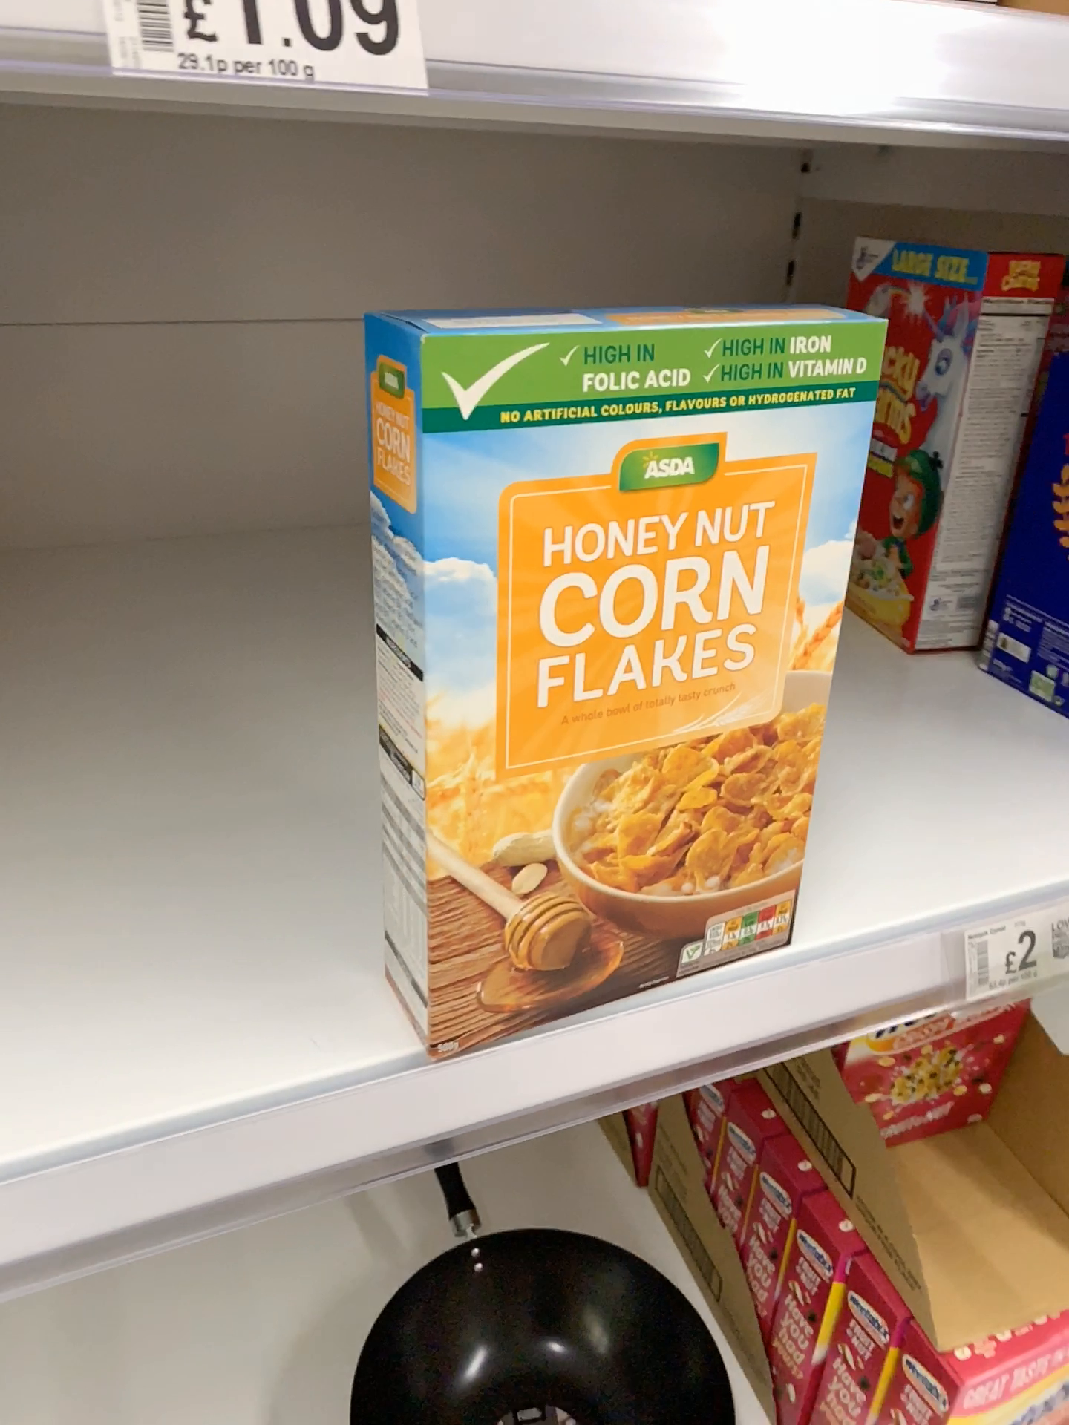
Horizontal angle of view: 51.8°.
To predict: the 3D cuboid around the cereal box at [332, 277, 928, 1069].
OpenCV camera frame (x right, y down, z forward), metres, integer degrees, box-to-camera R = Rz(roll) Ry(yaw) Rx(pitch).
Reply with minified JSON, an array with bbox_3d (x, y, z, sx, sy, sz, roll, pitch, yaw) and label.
[{"bbox_3d":[0.031,-0.019,0.445,0.200,0.287,0.070,-10,29,-25],"label":"cereal box"}]
